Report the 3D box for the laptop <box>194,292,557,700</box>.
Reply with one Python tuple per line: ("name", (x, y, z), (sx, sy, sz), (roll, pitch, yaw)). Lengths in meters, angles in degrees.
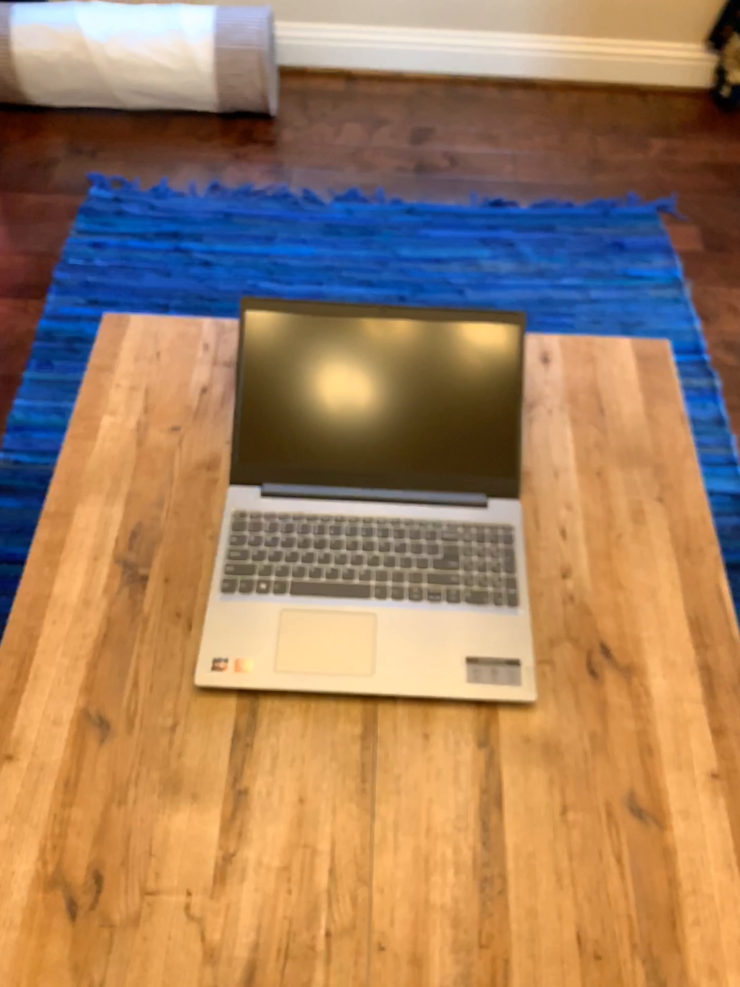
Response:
("laptop", (0.017, -0.017, 0.888), (0.346, 0.099, 0.462), (3, 60, 0))
